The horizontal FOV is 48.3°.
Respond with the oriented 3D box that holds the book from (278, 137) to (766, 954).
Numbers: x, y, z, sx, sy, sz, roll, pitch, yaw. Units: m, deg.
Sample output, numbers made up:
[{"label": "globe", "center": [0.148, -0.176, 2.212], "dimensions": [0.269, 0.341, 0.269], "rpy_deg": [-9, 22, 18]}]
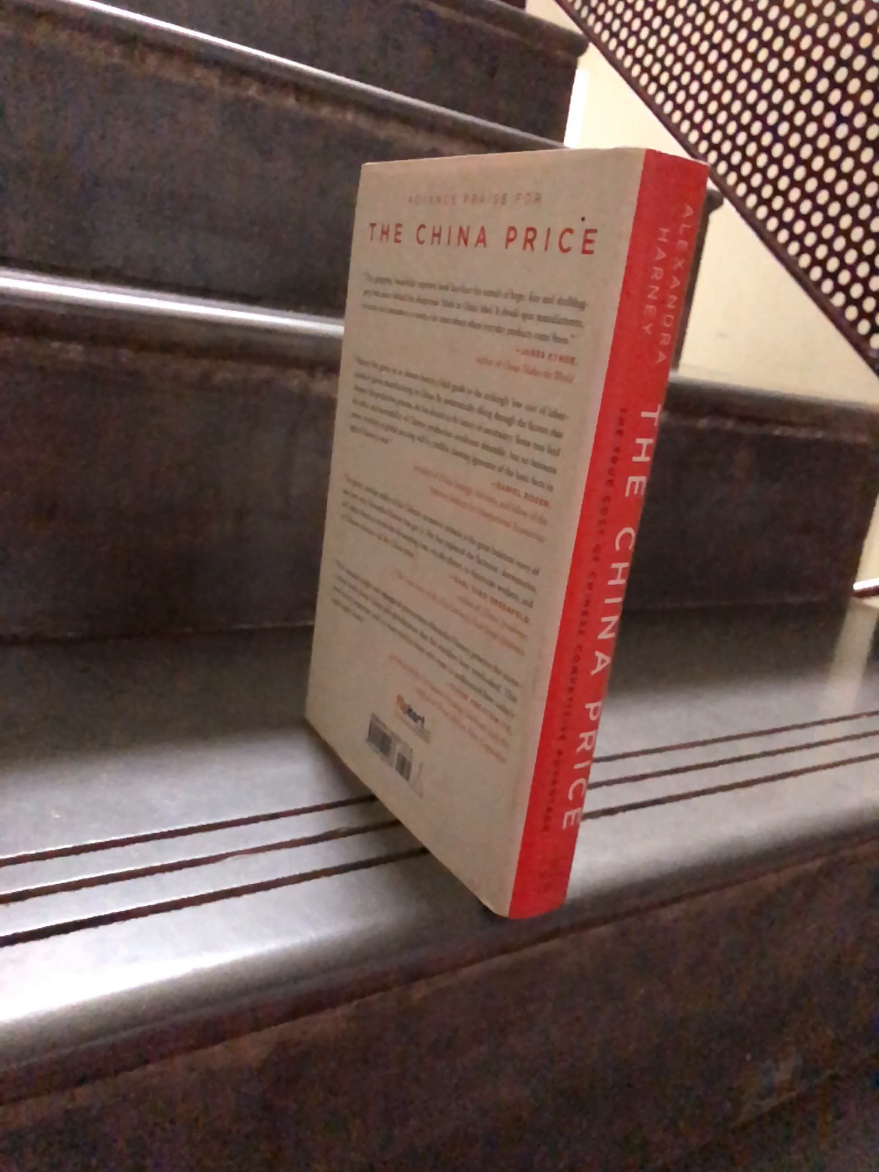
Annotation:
[{"label": "book", "center": [0.007, -0.027, 0.358], "dimensions": [0.040, 0.239, 0.180], "rpy_deg": [-2, 20, -33]}]
